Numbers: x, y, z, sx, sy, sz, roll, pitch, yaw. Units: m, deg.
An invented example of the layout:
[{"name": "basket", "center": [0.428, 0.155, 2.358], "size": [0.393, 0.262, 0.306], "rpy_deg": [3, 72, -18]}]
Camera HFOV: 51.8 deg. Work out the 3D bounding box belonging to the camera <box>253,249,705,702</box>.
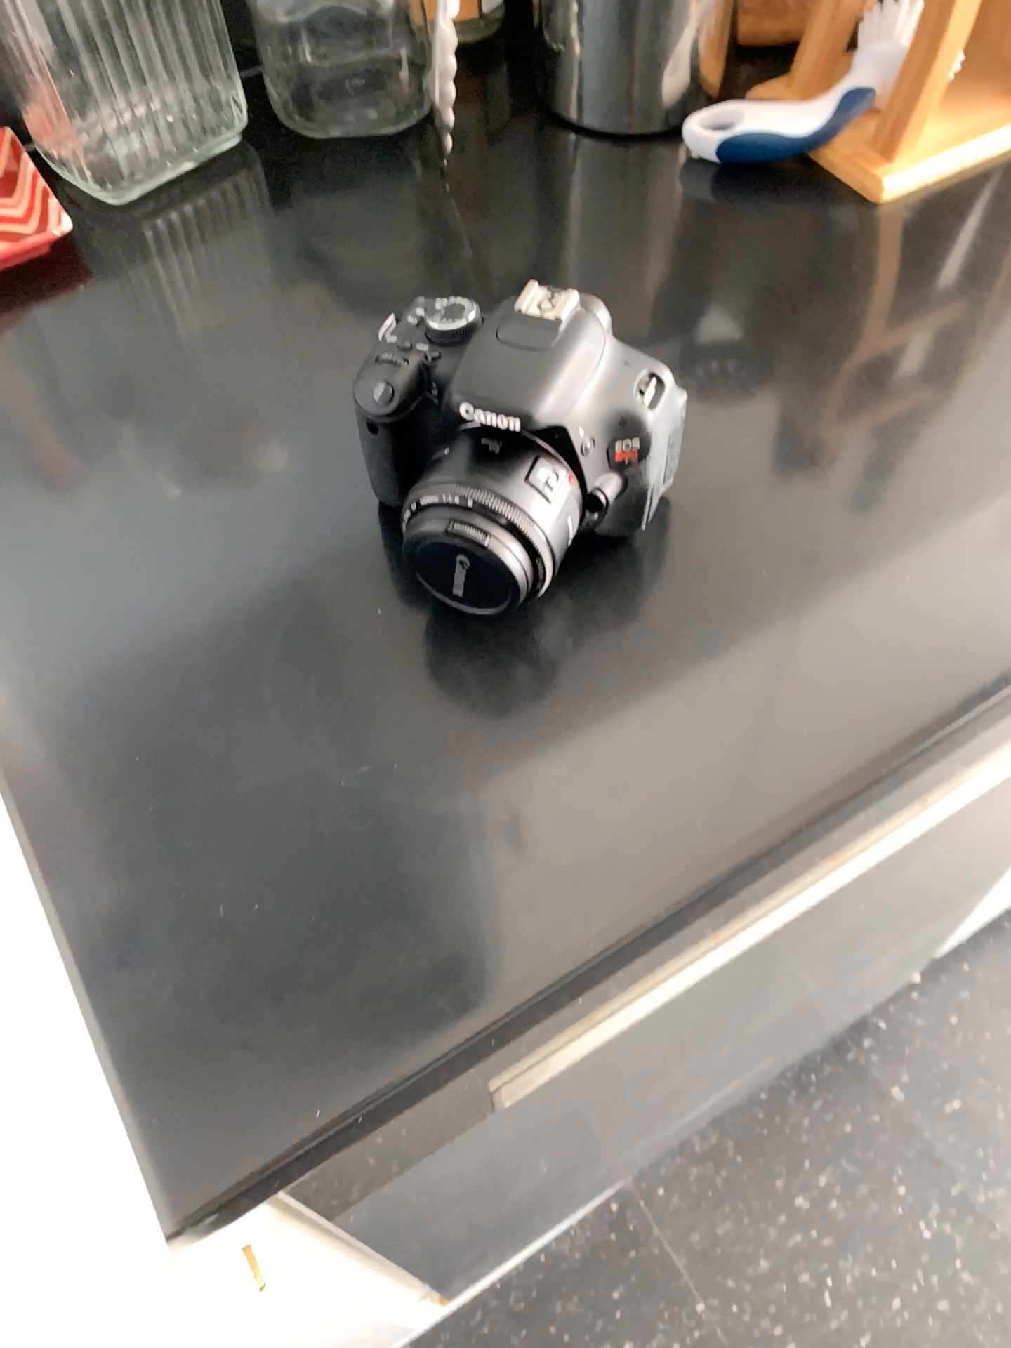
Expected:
[{"name": "camera", "center": [-0.004, -0.092, 0.469], "size": [0.140, 0.100, 0.145], "rpy_deg": [18, 59, 15]}]
